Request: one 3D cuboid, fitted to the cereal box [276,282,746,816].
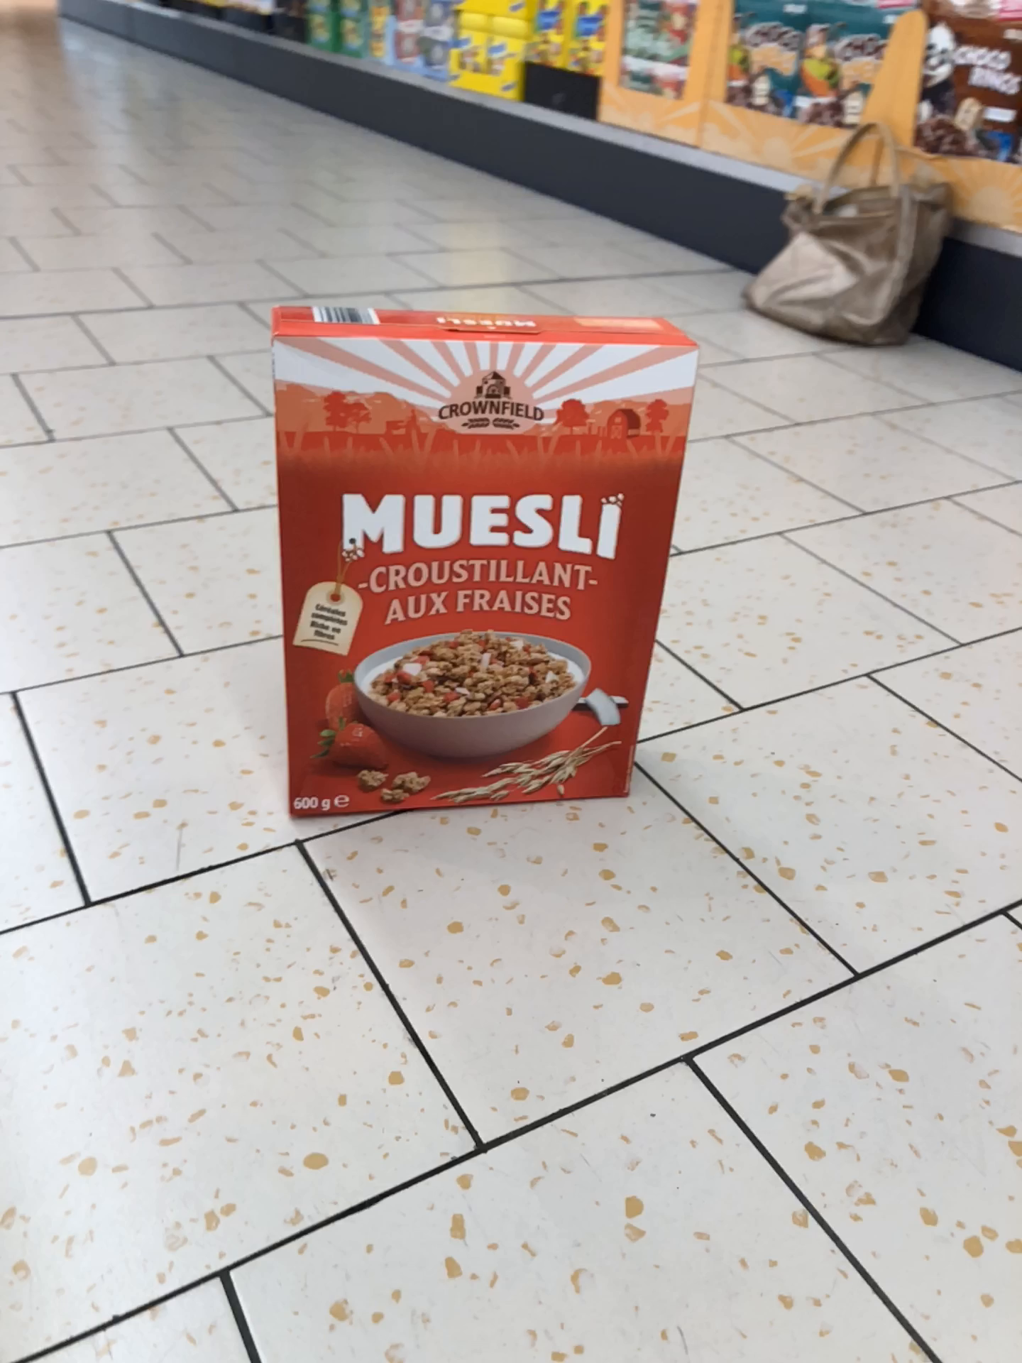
[{"bbox_3d":[-0.011,-0.059,0.563,0.200,0.249,0.070,-1,30,-11],"label":"cereal box"}]
